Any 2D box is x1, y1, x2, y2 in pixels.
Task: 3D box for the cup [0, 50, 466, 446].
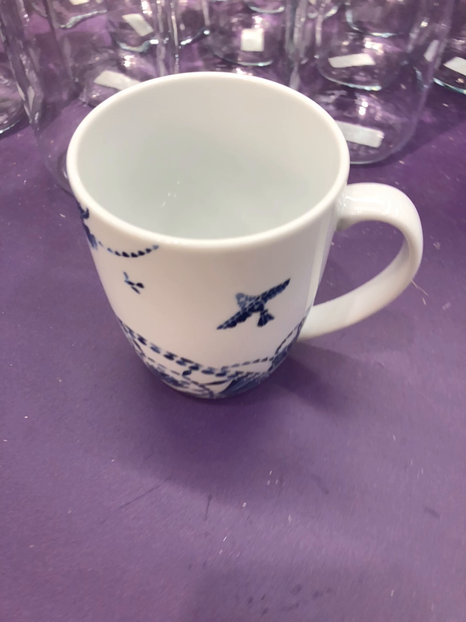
[{"bbox_3d":[0.006,-0.022,0.222,0.140,0.119,0.101,6,54,4],"label":"cup"}]
